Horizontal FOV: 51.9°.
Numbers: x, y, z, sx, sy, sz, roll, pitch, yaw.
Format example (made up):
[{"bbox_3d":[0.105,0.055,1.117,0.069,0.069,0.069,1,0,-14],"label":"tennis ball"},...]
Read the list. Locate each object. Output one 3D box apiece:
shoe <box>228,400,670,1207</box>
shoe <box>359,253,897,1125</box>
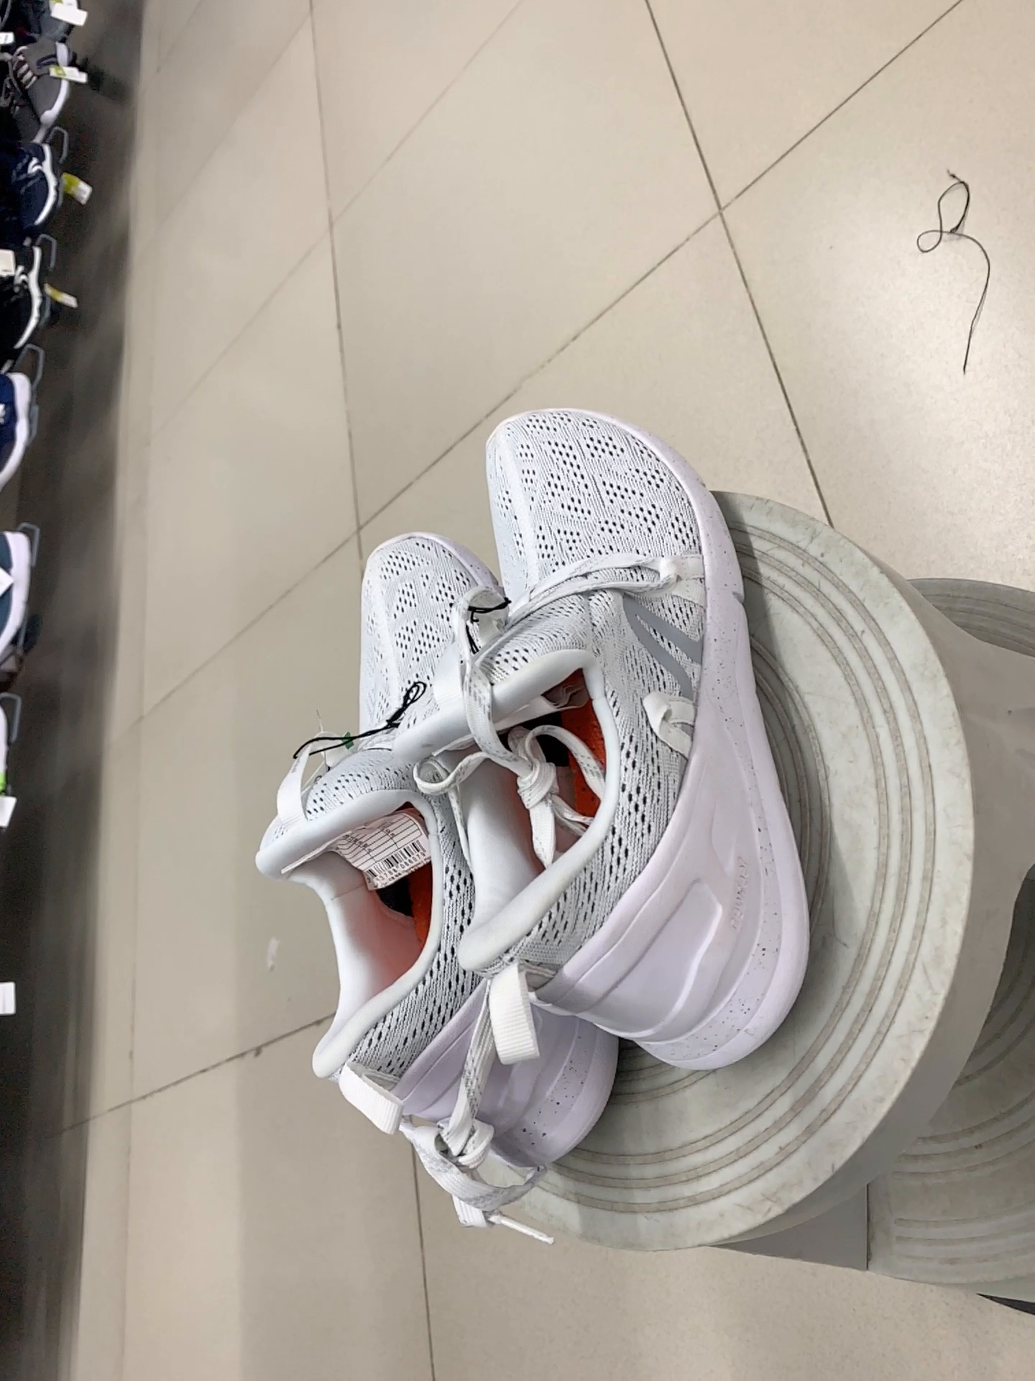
[{"bbox_3d":[-0.042,0.039,0.423,0.111,0.089,0.280,-34,54,35],"label":"shoe"},{"bbox_3d":[0.021,-0.006,0.381,0.111,0.080,0.280,-34,54,35],"label":"shoe"}]
